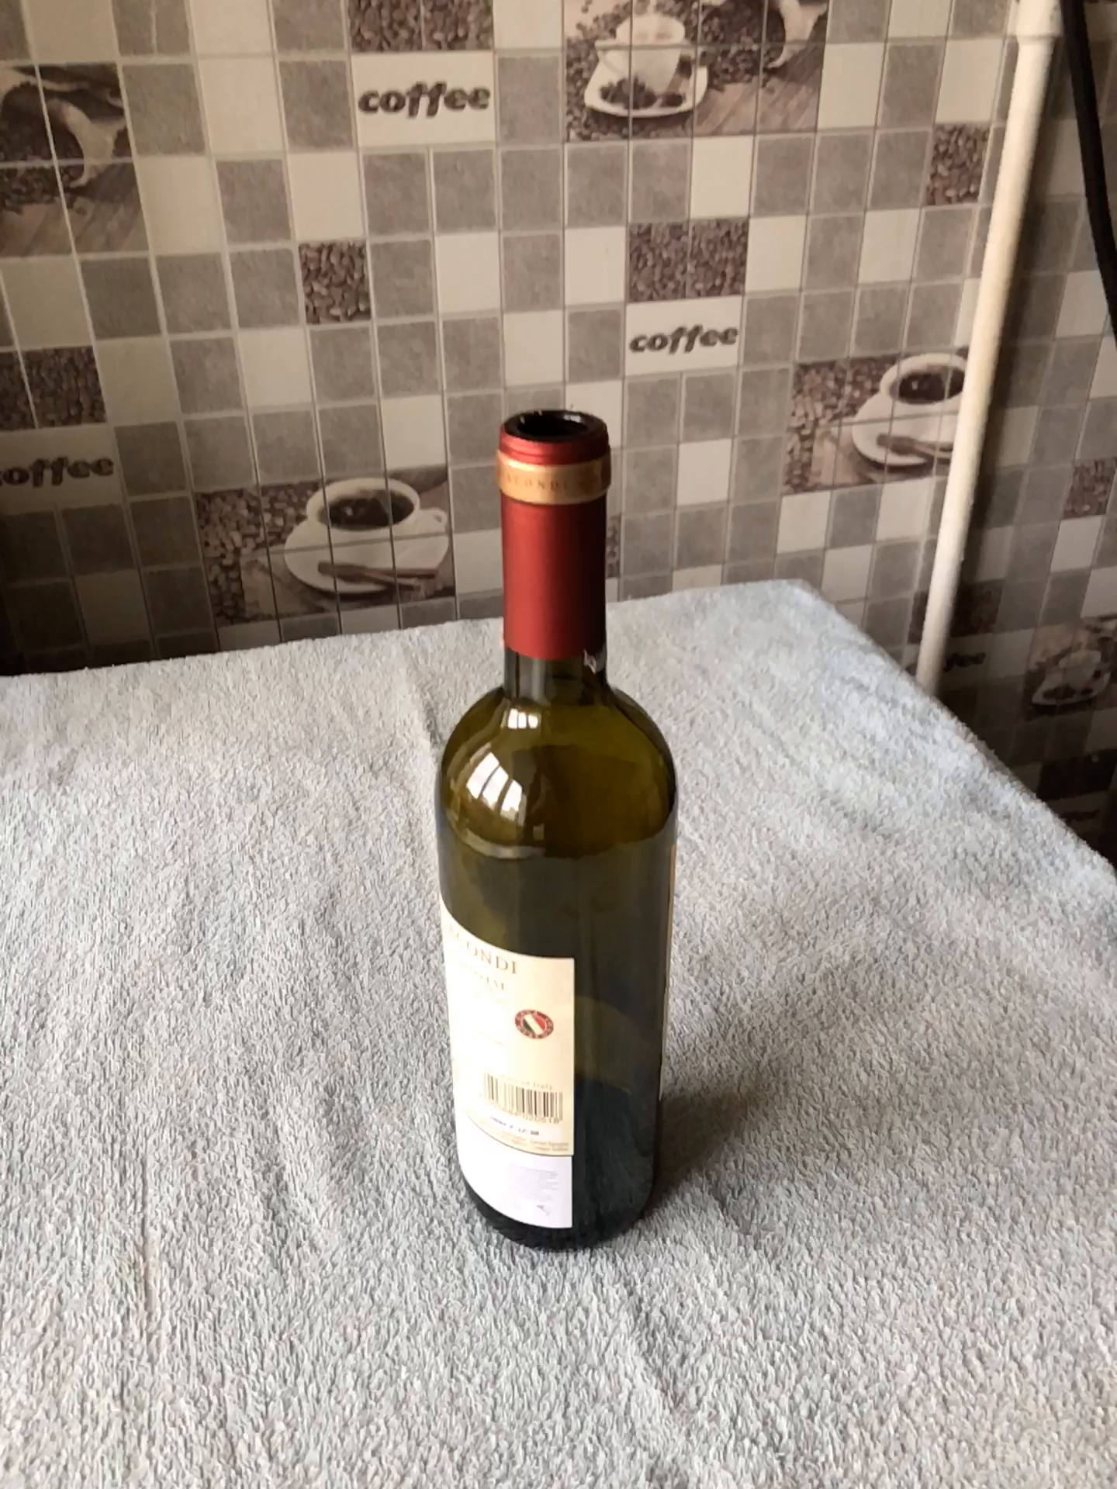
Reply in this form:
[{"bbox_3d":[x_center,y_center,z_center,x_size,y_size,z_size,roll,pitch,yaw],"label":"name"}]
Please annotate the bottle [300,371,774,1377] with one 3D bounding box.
[{"bbox_3d":[-0.003,0.053,0.374,0.080,0.298,0.080,-1,33,0],"label":"bottle"}]
